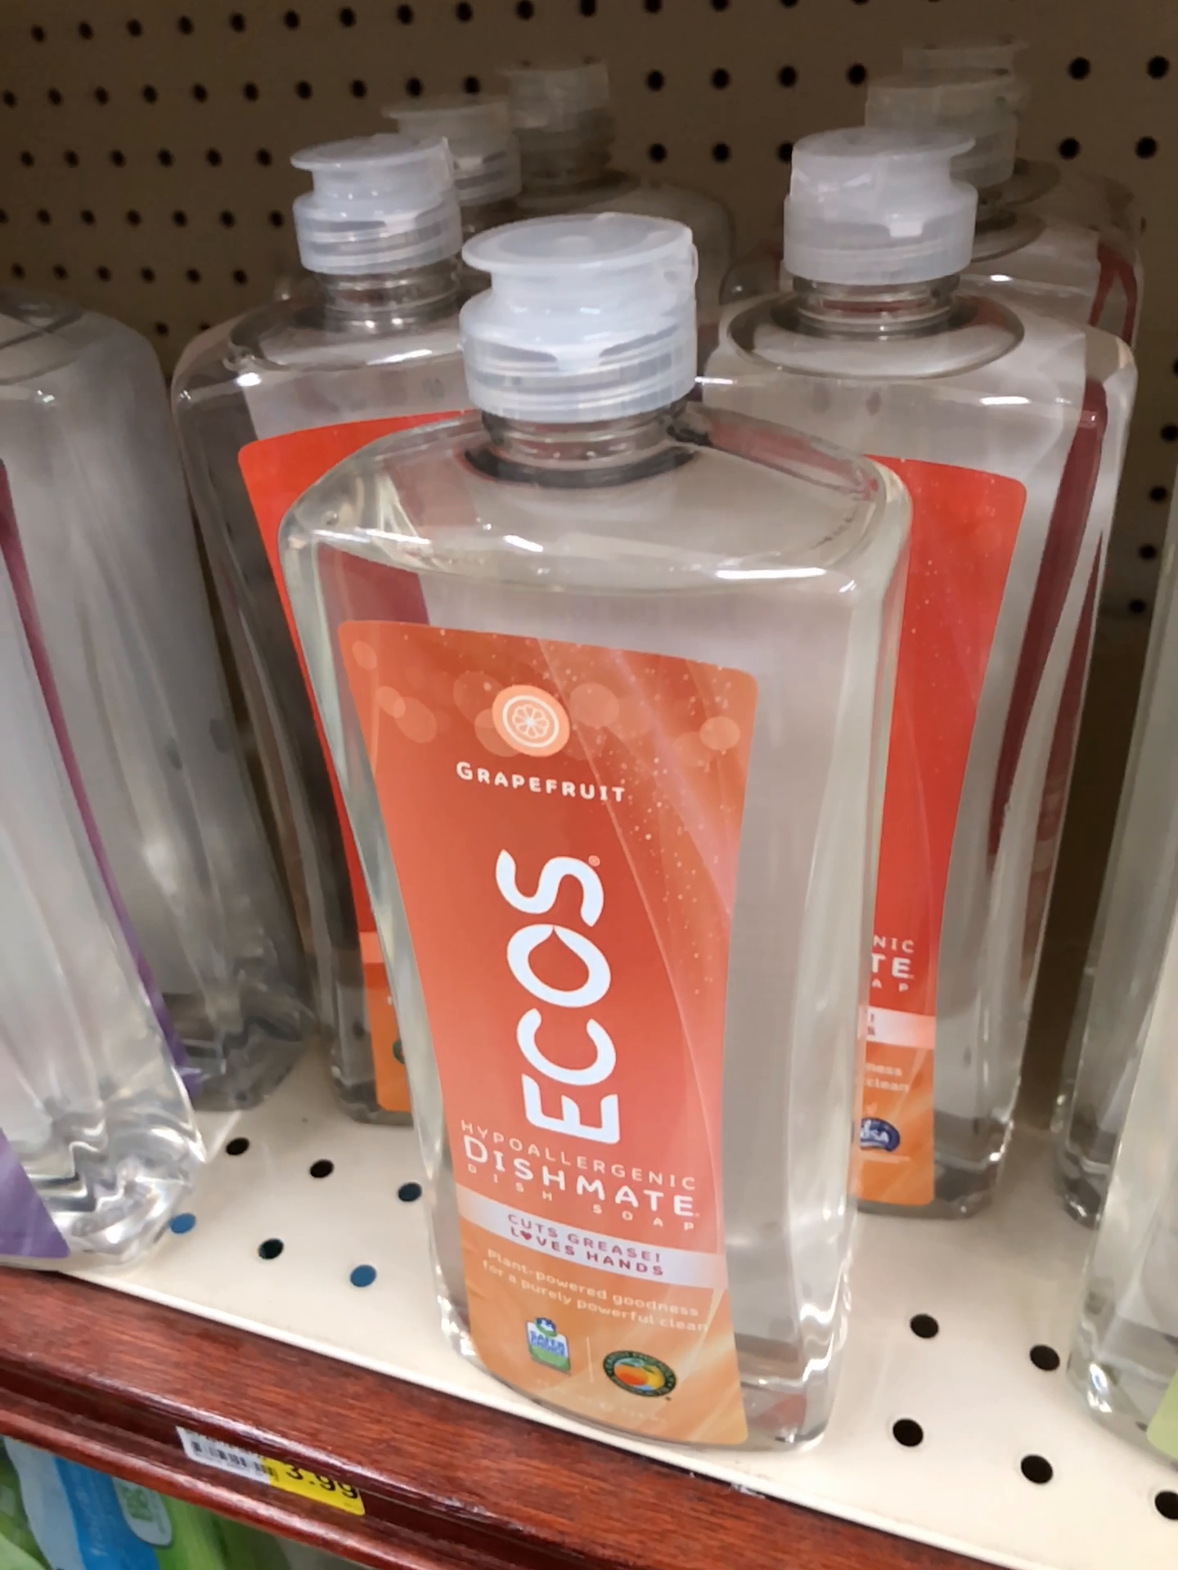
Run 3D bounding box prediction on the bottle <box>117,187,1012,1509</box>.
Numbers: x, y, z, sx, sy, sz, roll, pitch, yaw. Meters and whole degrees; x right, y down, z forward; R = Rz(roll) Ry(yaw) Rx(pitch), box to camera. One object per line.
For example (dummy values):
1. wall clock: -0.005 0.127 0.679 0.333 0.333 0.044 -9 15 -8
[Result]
1. bottle: 0.007 0.026 0.217 0.092 0.219 0.050 8 38 18
